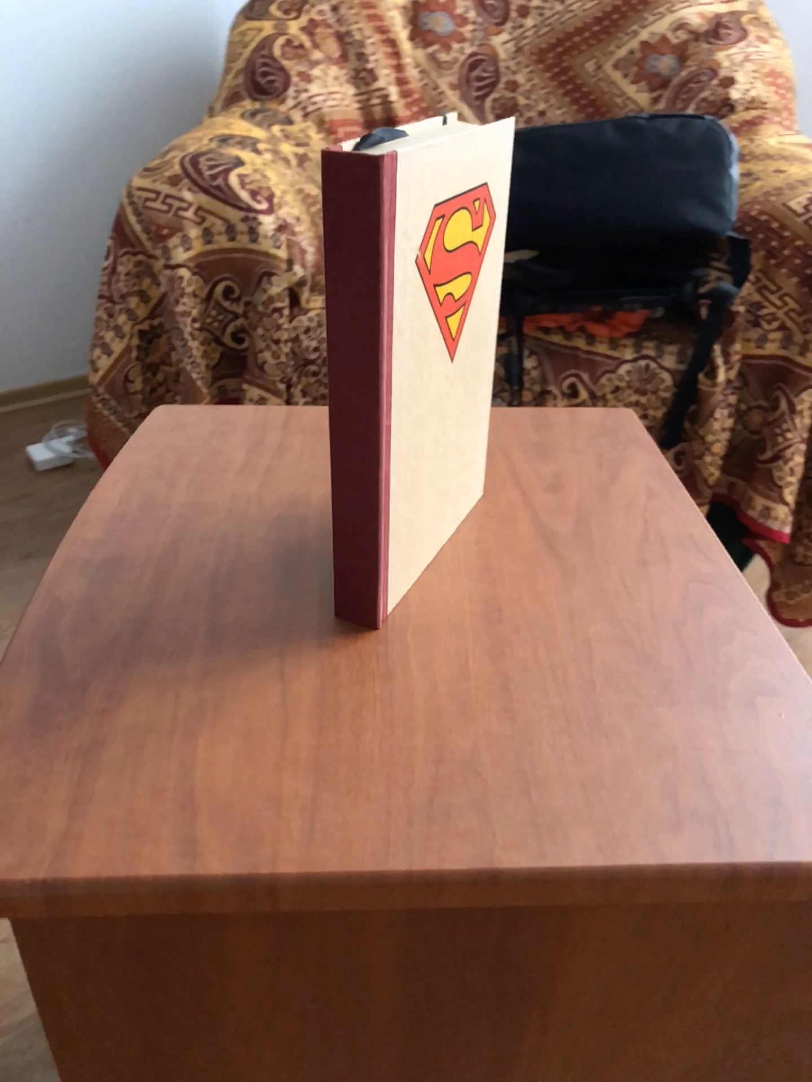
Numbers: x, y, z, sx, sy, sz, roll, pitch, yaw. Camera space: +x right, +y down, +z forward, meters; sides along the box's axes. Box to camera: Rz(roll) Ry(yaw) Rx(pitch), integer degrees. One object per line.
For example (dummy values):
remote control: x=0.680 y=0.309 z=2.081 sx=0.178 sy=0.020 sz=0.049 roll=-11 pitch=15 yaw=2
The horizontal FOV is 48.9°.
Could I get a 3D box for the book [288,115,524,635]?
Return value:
book: x=0.006 y=-0.087 z=0.434 sx=0.041 sy=0.203 sz=0.163 roll=13 pitch=32 yaw=19
